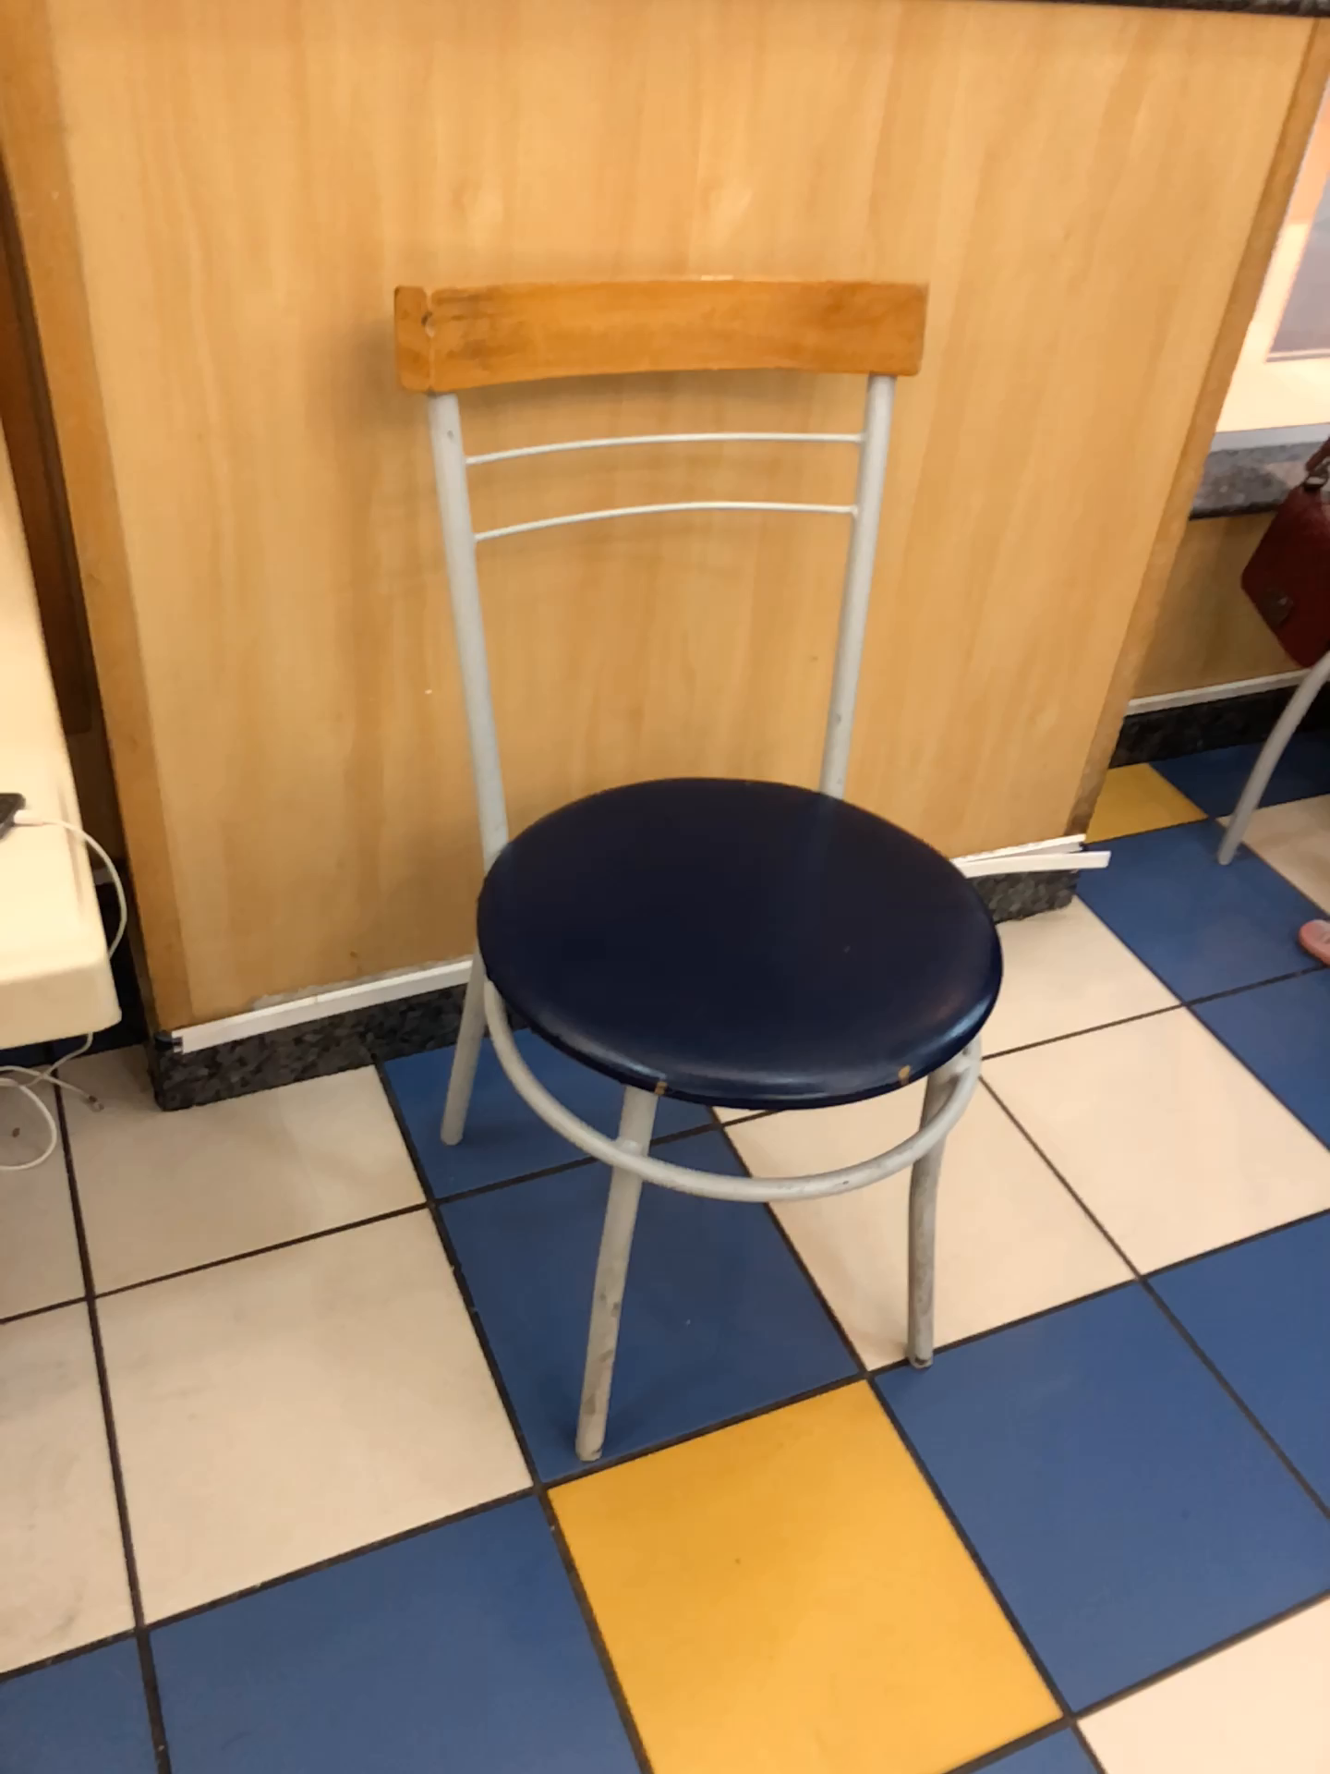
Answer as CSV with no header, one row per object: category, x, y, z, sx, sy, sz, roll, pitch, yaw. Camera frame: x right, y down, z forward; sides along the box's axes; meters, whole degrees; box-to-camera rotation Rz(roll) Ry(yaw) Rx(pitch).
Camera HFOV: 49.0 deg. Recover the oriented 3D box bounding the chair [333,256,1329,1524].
chair,0.042,-0.014,1.122,0.441,0.744,0.523,-10,40,-20
